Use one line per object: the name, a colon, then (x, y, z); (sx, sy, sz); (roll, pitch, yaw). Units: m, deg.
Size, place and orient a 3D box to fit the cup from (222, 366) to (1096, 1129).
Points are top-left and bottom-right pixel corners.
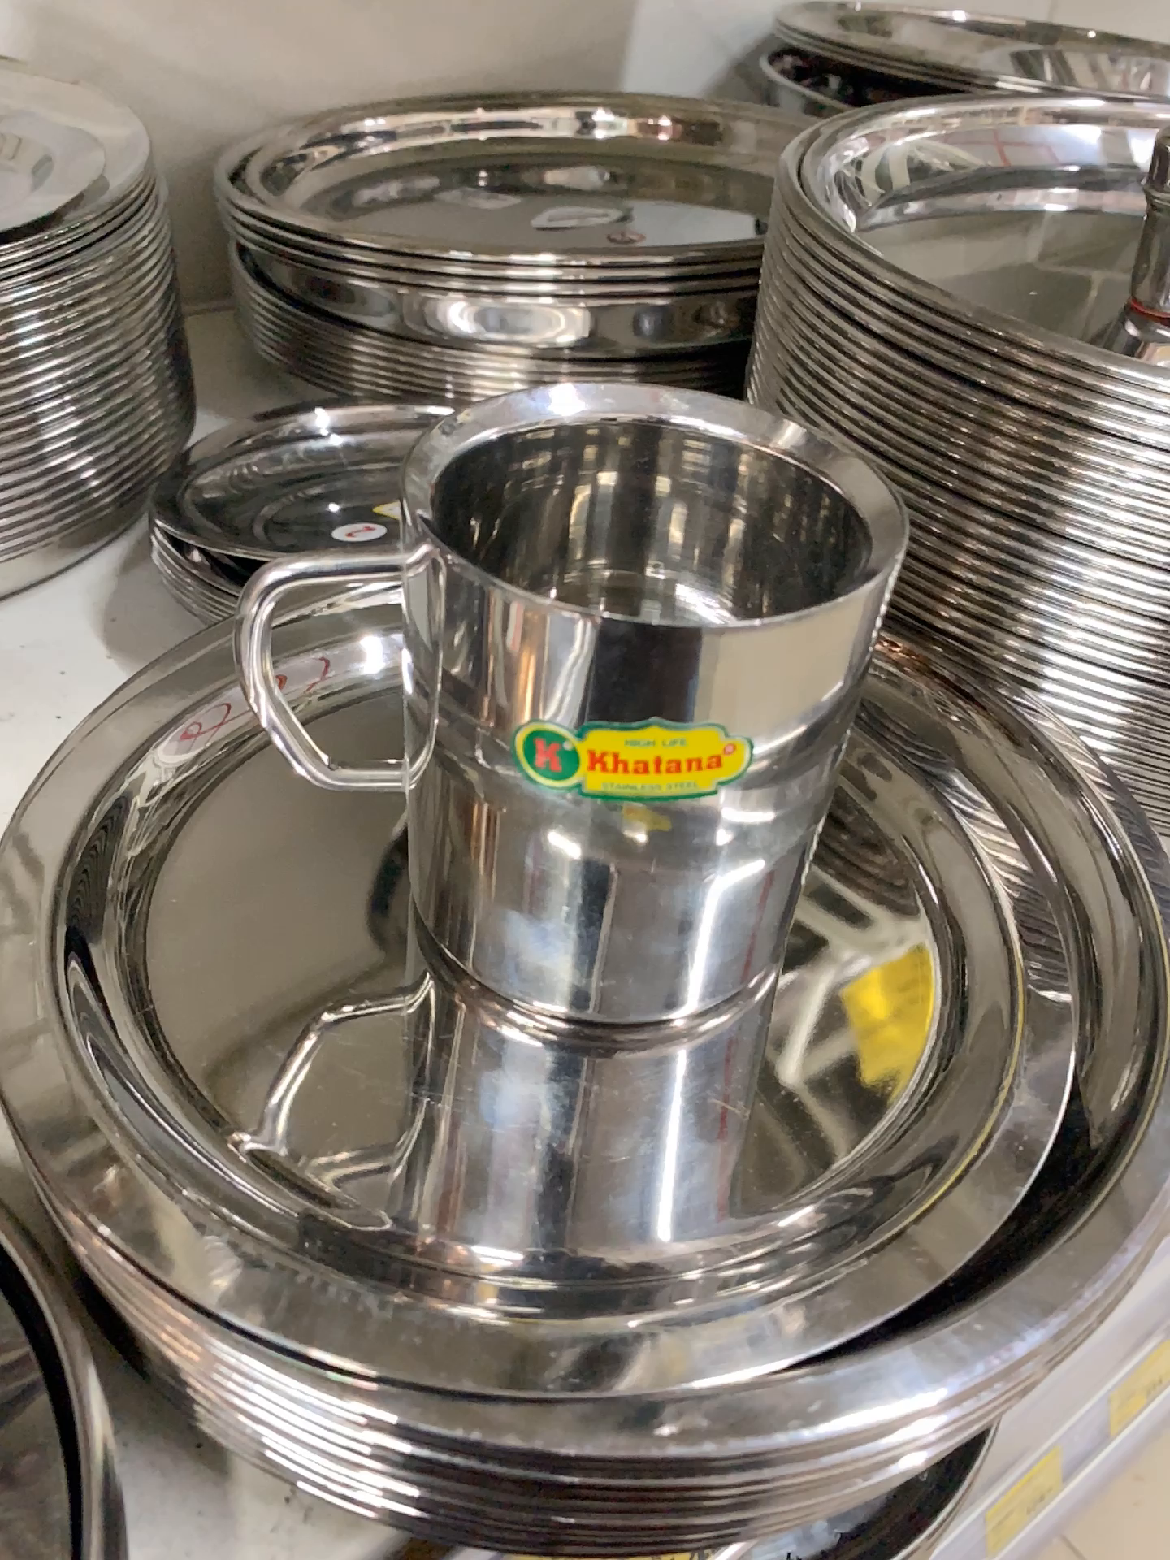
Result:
cup: (0.002, -0.009, 0.205); (0.110, 0.090, 0.080); (-5, 40, -11)
